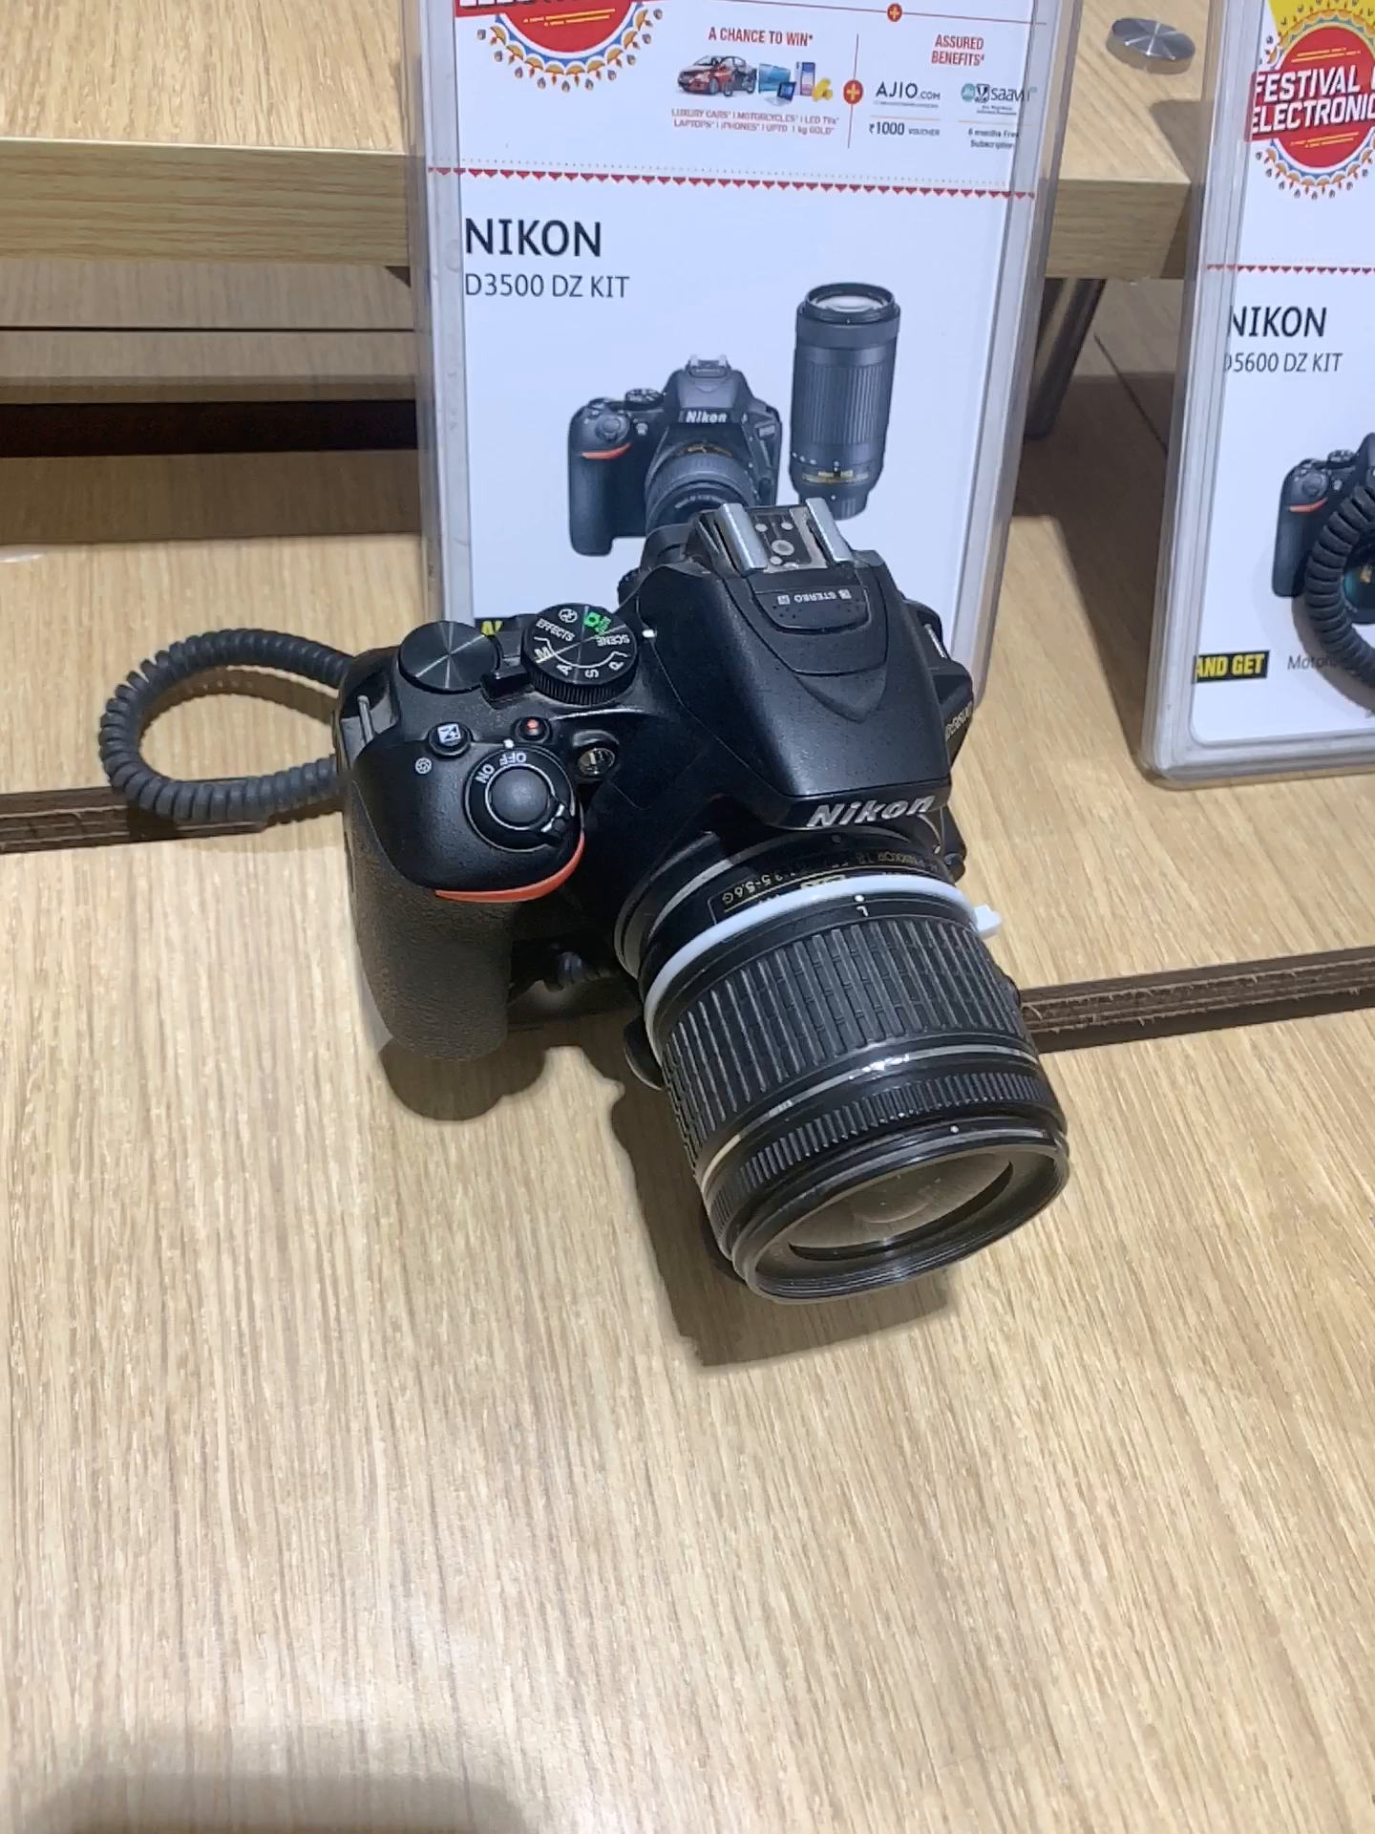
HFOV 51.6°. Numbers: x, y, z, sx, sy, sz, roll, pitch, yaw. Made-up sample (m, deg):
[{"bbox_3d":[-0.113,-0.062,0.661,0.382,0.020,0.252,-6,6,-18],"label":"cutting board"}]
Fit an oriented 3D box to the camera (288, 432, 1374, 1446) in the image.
[{"bbox_3d":[0.009,0.000,0.238,0.130,0.100,0.120,-7,56,-15],"label":"camera"}]
